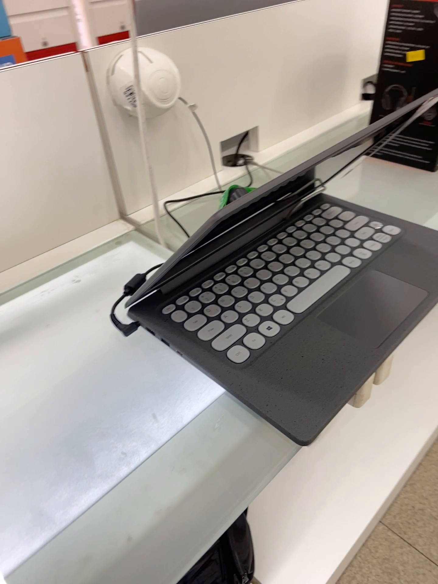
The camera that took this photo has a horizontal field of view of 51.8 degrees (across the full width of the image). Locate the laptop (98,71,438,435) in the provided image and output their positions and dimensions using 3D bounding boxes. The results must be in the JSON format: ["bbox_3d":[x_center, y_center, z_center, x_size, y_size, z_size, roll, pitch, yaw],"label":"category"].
[{"bbox_3d":[0.094,-0.076,0.418,0.208,0.153,0.312,29,49,36],"label":"laptop"}]
